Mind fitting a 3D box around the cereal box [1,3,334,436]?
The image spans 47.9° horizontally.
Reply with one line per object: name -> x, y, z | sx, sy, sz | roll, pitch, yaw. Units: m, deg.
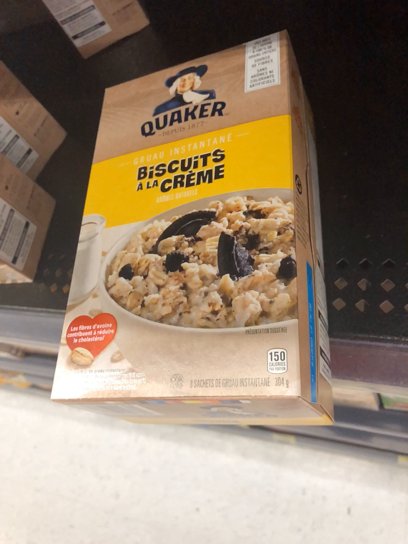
cereal box -> -0.011, -0.024, 0.257 | 0.140, 0.070, 0.210 | -7, 65, 23
